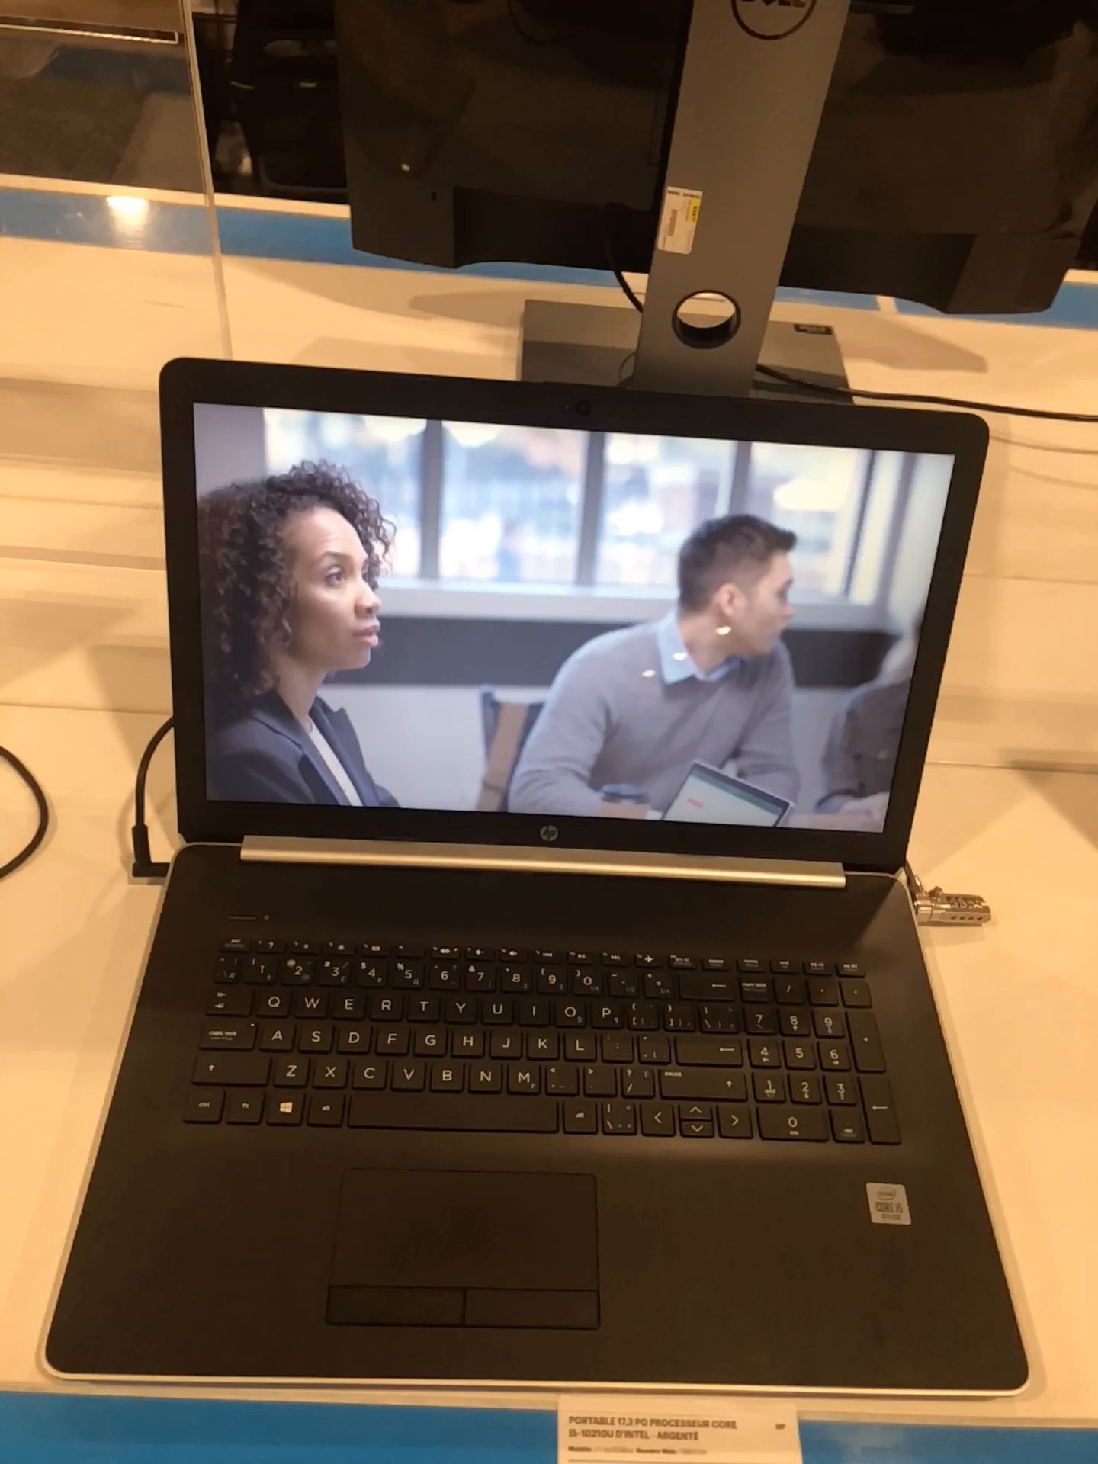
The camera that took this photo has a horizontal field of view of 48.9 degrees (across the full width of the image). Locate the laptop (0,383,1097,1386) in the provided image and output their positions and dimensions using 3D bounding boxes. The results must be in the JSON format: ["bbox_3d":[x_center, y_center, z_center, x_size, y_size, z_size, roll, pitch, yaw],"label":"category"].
[{"bbox_3d":[0.007,0.054,0.559,0.410,0.243,0.381,3,45,-3],"label":"laptop"}]
